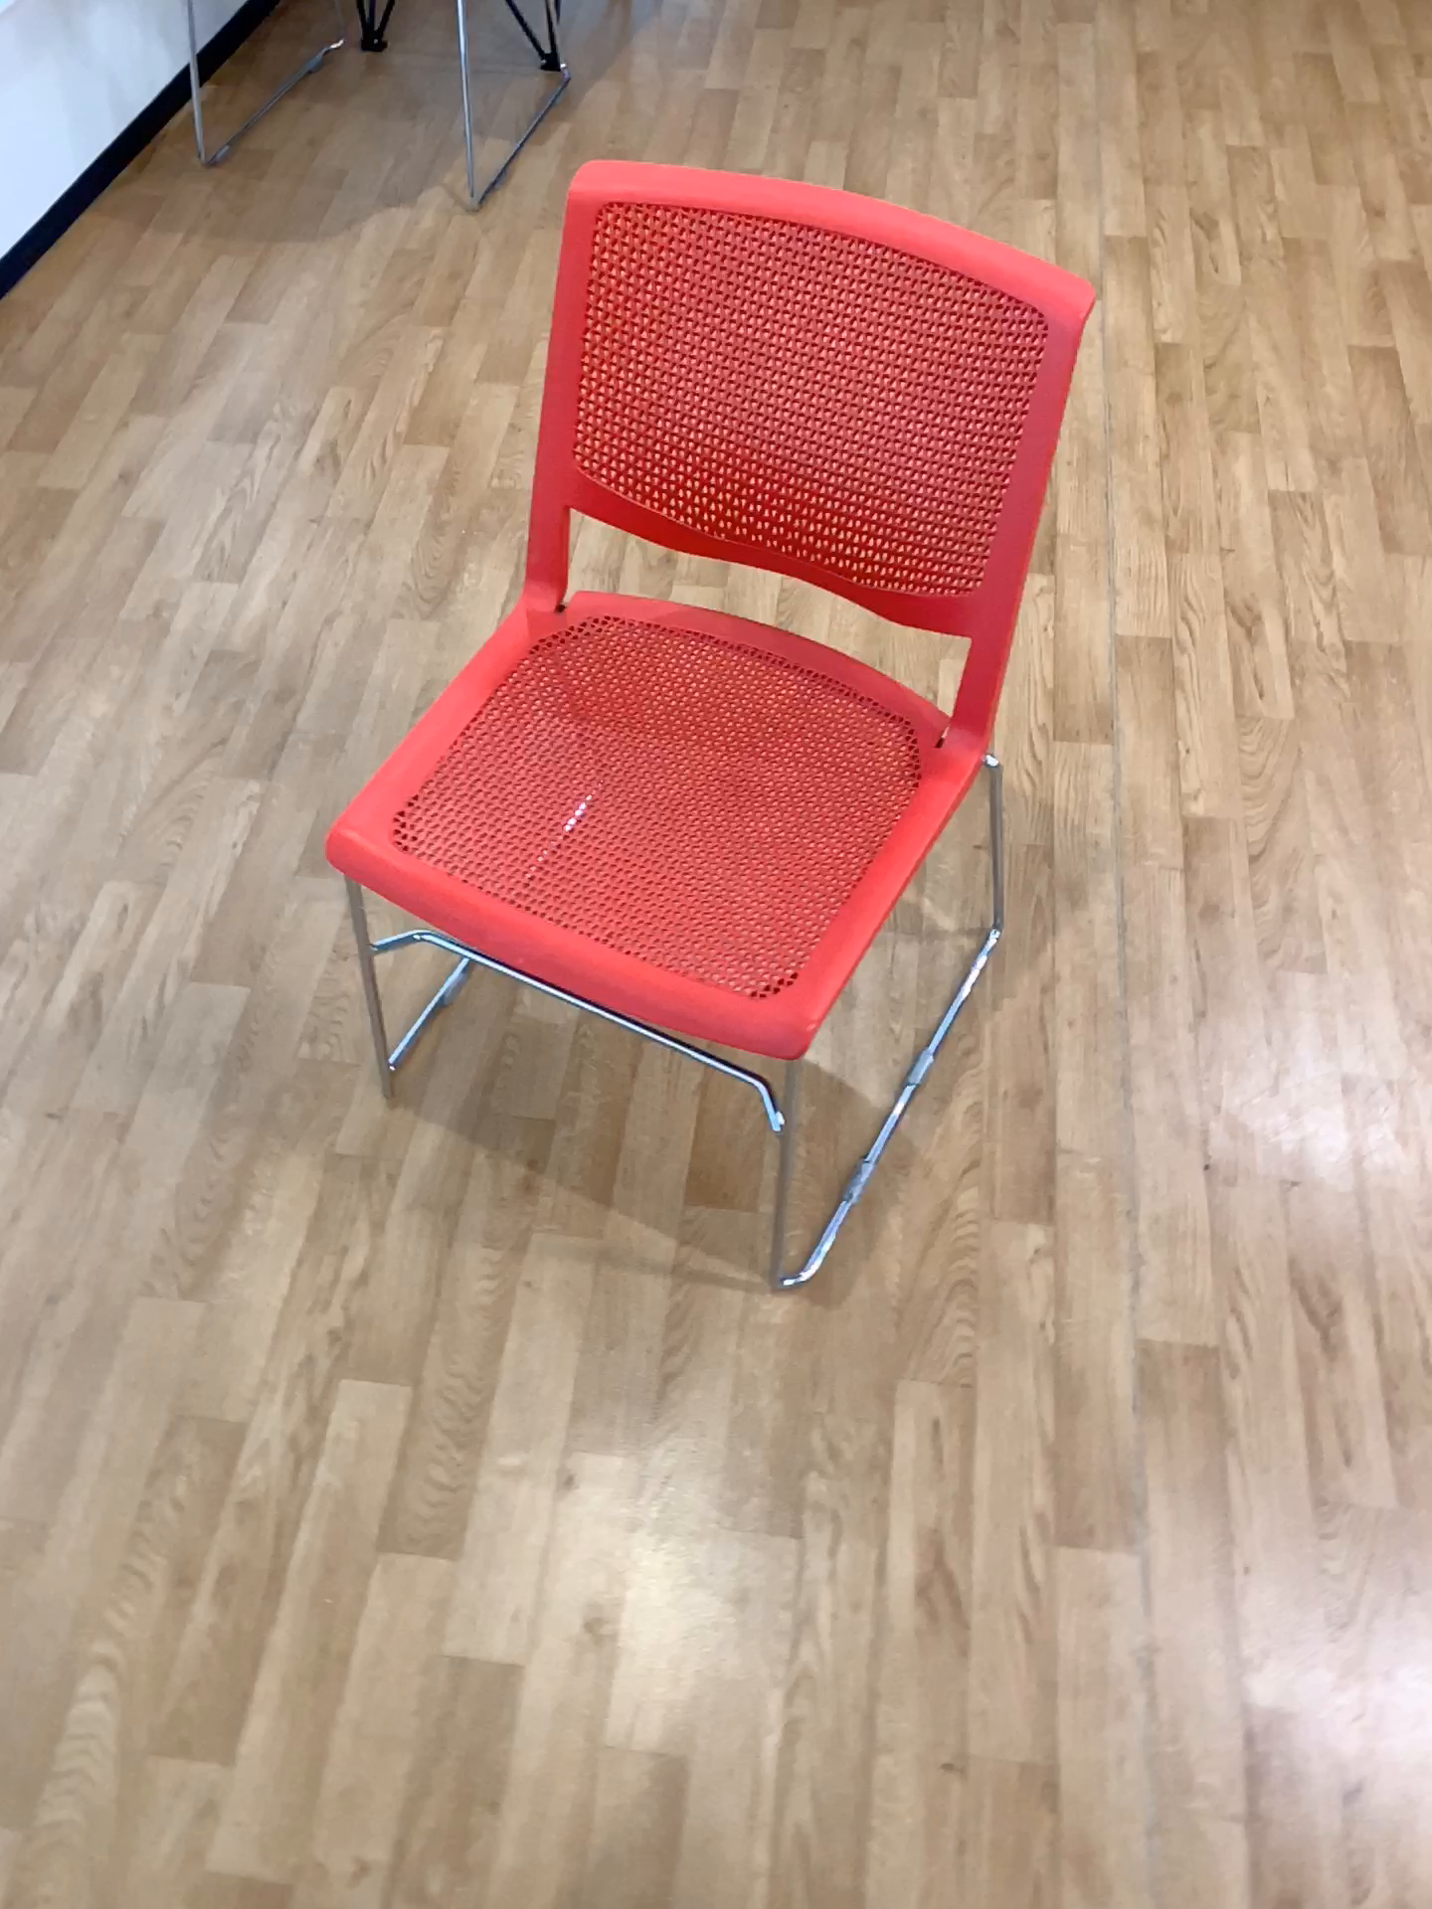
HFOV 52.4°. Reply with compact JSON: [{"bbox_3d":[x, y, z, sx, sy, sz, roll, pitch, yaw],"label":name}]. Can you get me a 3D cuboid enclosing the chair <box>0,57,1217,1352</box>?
[{"bbox_3d":[-0.053,-0.183,1.207,0.601,0.705,0.593,22,58,16],"label":"chair"}]
